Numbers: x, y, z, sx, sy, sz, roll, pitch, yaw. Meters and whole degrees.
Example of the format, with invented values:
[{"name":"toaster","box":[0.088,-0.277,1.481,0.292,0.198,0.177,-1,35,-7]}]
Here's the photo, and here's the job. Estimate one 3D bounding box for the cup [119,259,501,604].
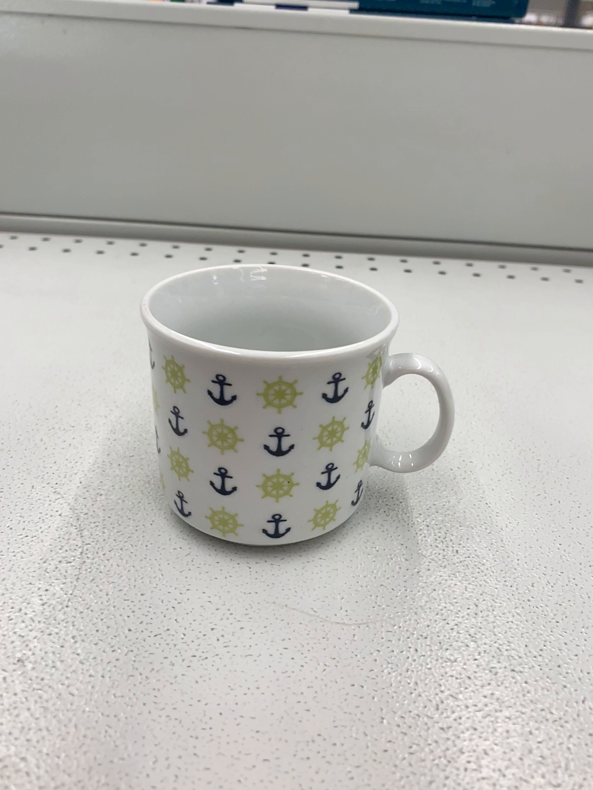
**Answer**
[{"name":"cup","box":[-0.004,0.005,0.202,0.096,0.076,0.078,-4,28,-12]}]
